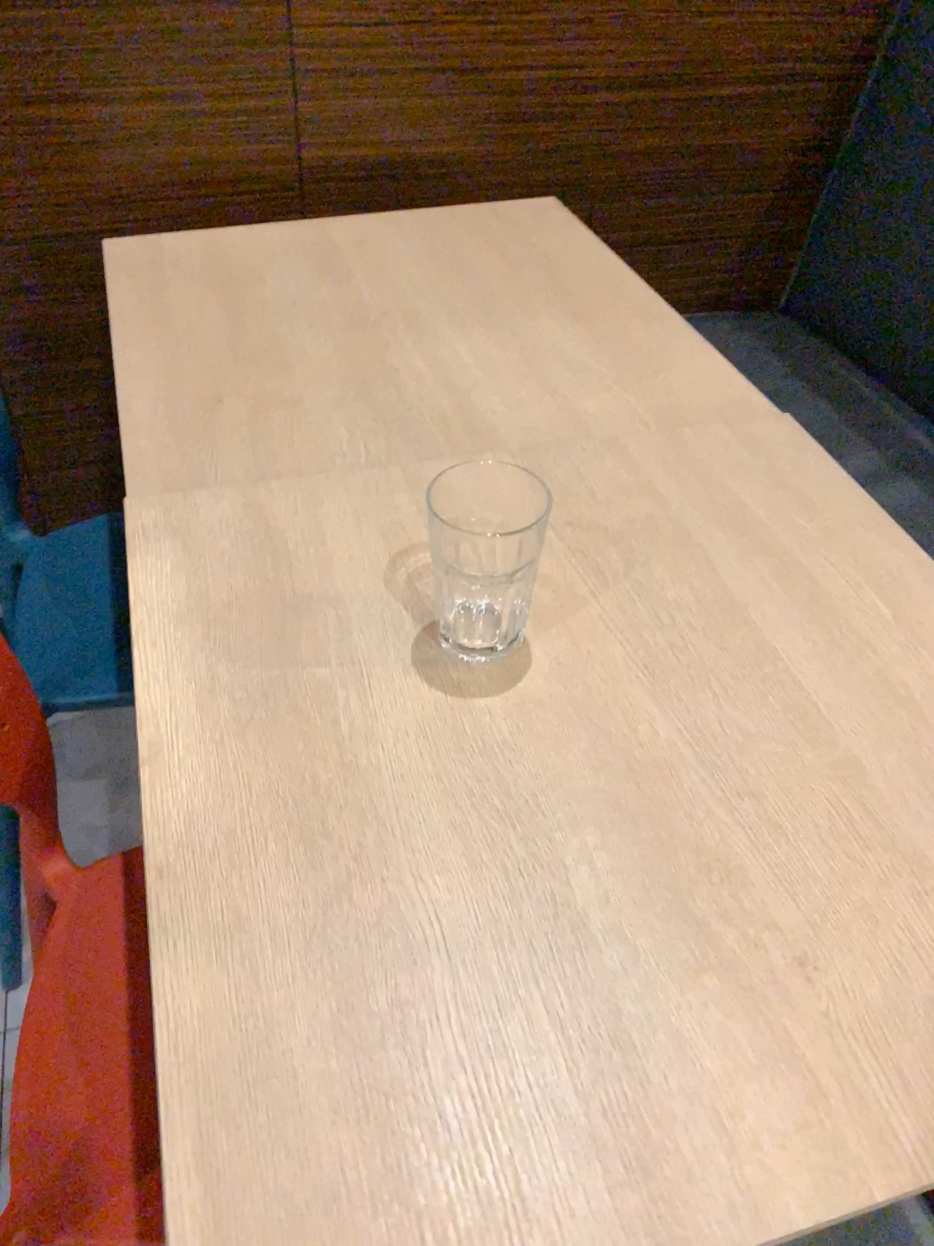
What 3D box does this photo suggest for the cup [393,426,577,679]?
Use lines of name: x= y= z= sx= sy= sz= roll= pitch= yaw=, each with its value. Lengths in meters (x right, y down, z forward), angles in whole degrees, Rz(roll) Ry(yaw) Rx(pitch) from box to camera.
cup: x=0.009 y=-0.046 z=0.622 sx=0.080 sy=0.119 sz=0.080 roll=2 pitch=42 yaw=-2
